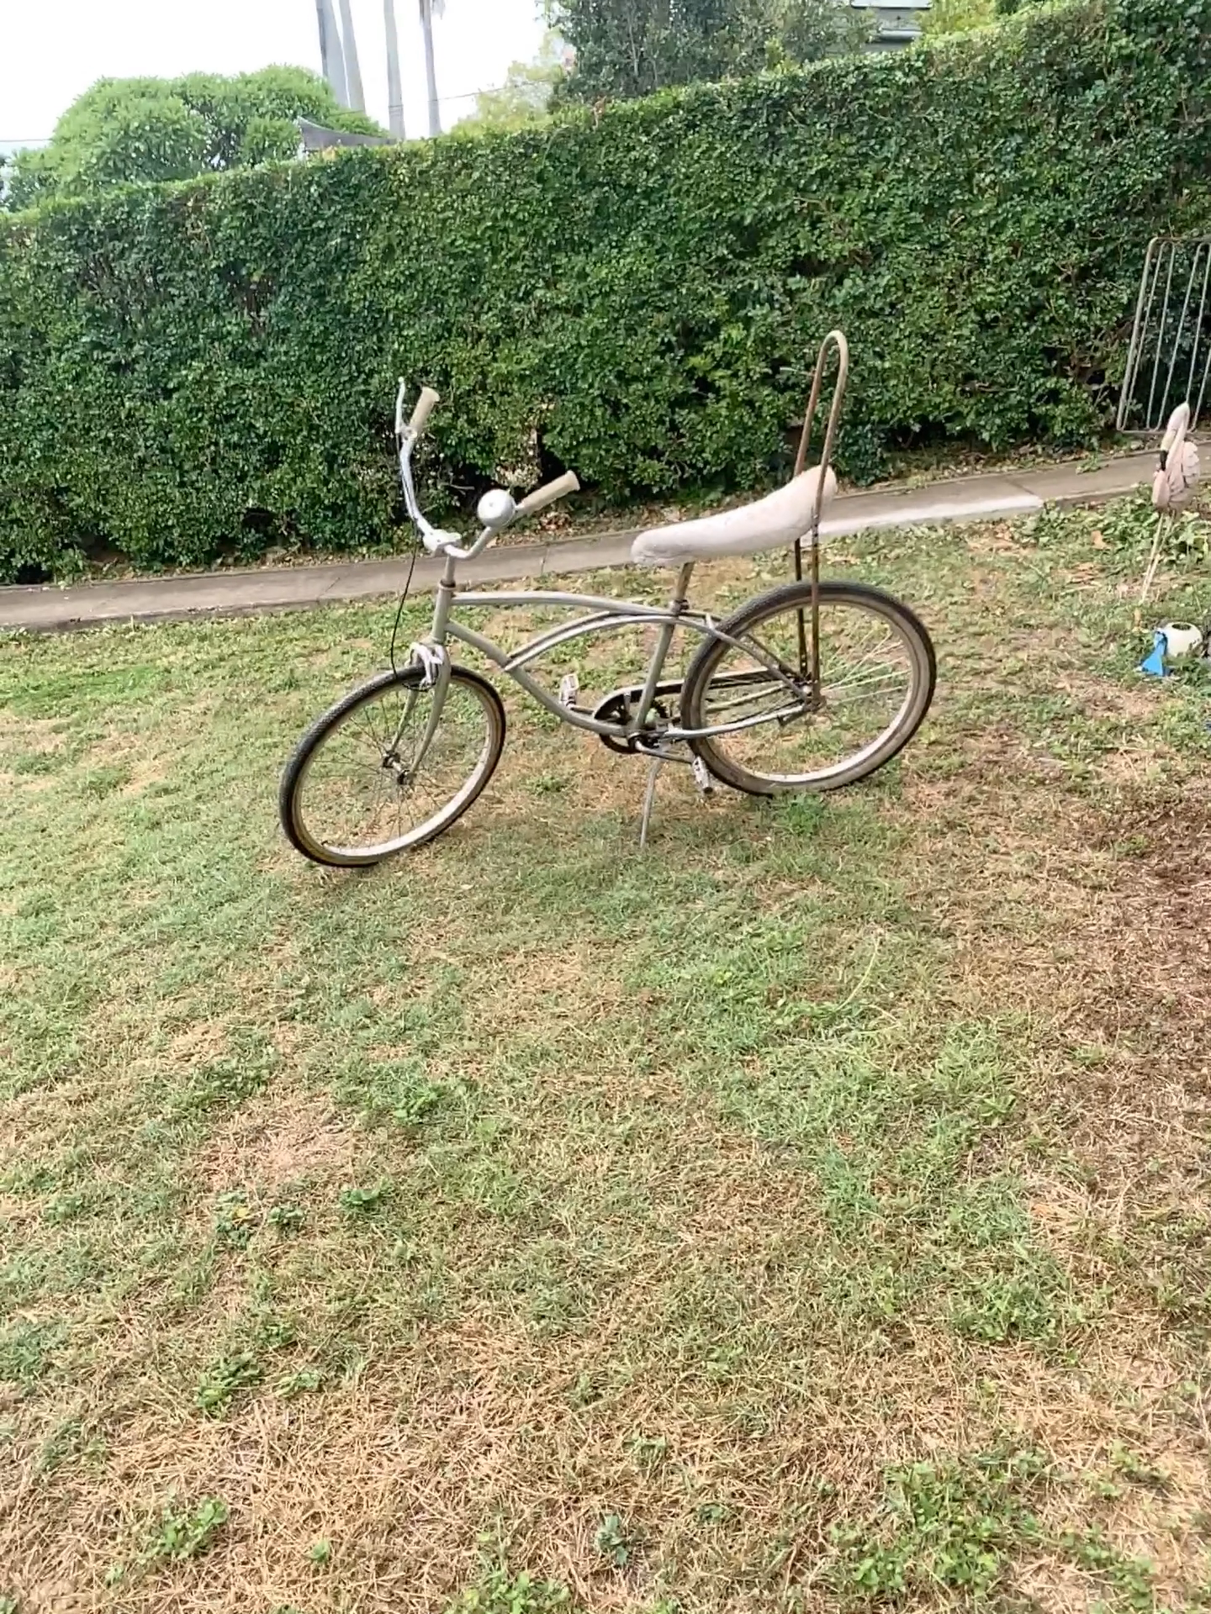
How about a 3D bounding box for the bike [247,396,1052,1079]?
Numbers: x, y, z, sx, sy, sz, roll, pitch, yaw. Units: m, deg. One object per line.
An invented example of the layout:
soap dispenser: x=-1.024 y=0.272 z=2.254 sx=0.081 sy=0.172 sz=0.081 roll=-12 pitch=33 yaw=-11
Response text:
bike: x=0.034 y=-0.232 z=2.922 sx=1.599 sy=0.991 sz=0.804 roll=-11 pitch=23 yaw=-6
